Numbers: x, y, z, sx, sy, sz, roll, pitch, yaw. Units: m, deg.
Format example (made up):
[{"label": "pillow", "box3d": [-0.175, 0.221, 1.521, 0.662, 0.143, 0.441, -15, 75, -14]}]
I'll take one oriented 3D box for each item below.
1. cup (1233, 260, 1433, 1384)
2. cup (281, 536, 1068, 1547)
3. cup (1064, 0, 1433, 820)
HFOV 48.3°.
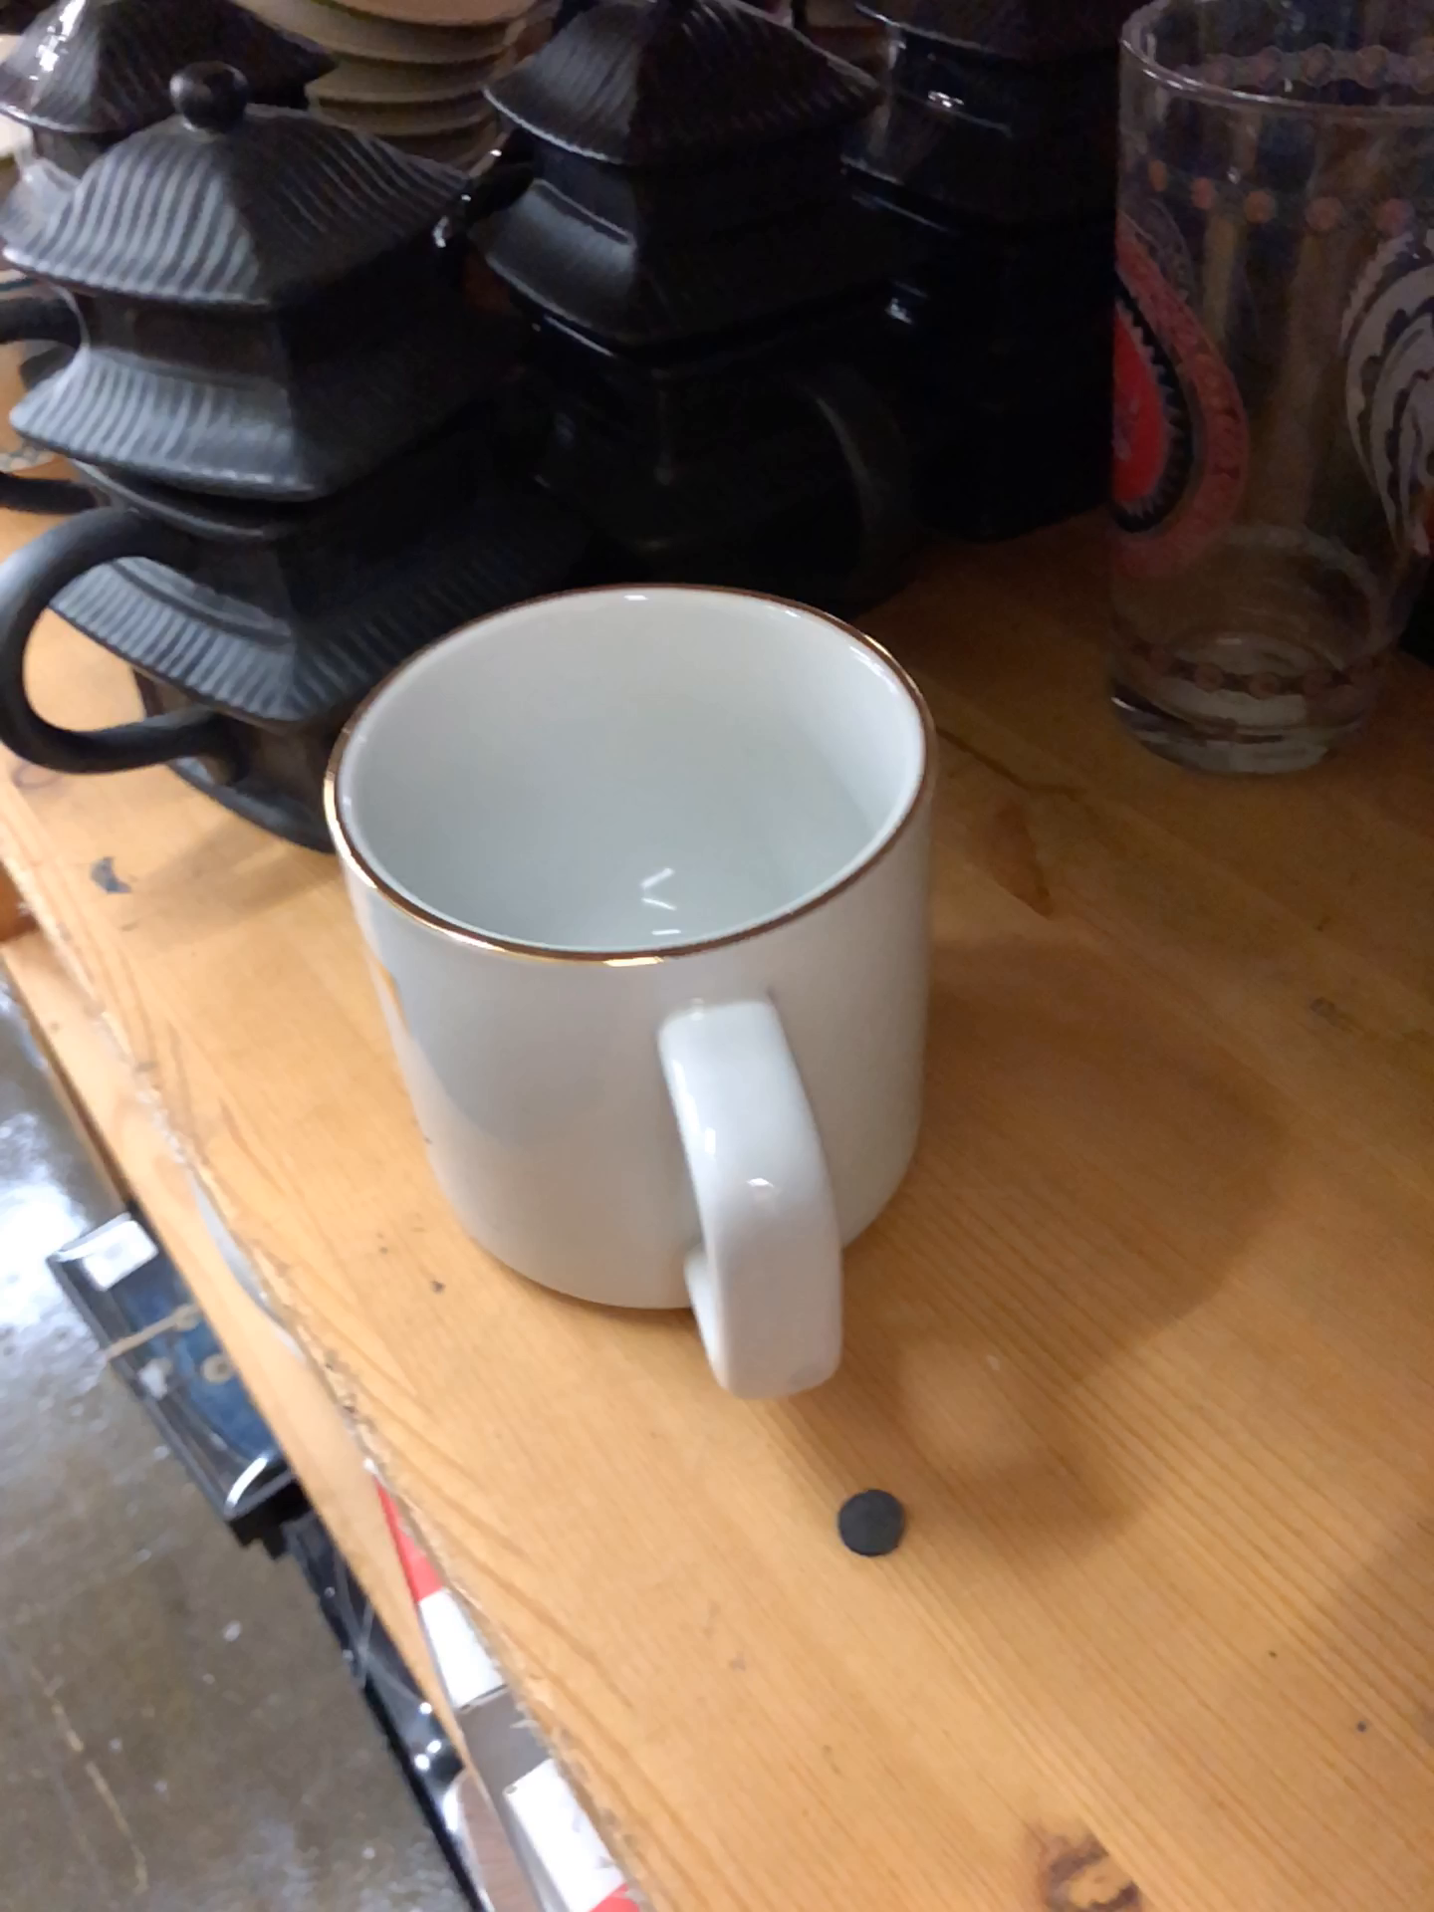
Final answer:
[{"label": "cup", "box3d": [0.143, -0.021, 0.223, 0.078, 0.104, 0.093, -21, 46, -16]}, {"label": "cup", "box3d": [-0.010, 0.008, 0.251, 0.088, 0.084, 0.123, -8, 44, -3]}, {"label": "cup", "box3d": [0.117, -0.108, 0.315, 0.078, 0.134, 0.093, 1, 44, 6]}]
